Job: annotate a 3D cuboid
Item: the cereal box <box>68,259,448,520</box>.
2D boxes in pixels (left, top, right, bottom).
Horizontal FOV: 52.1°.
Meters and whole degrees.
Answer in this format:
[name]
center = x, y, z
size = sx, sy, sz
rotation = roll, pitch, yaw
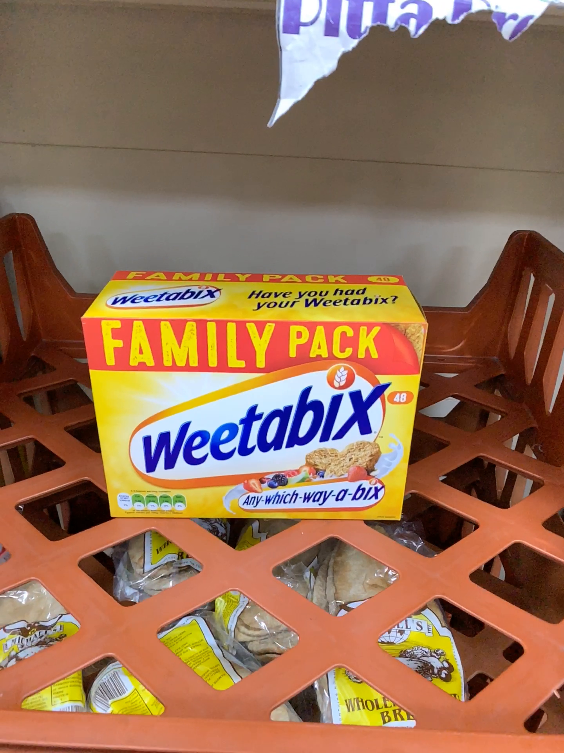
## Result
[cereal box]
center = -0.019, 0.013, 0.484
size = 0.260, 0.188, 0.101
rotation = 1, 29, -2
